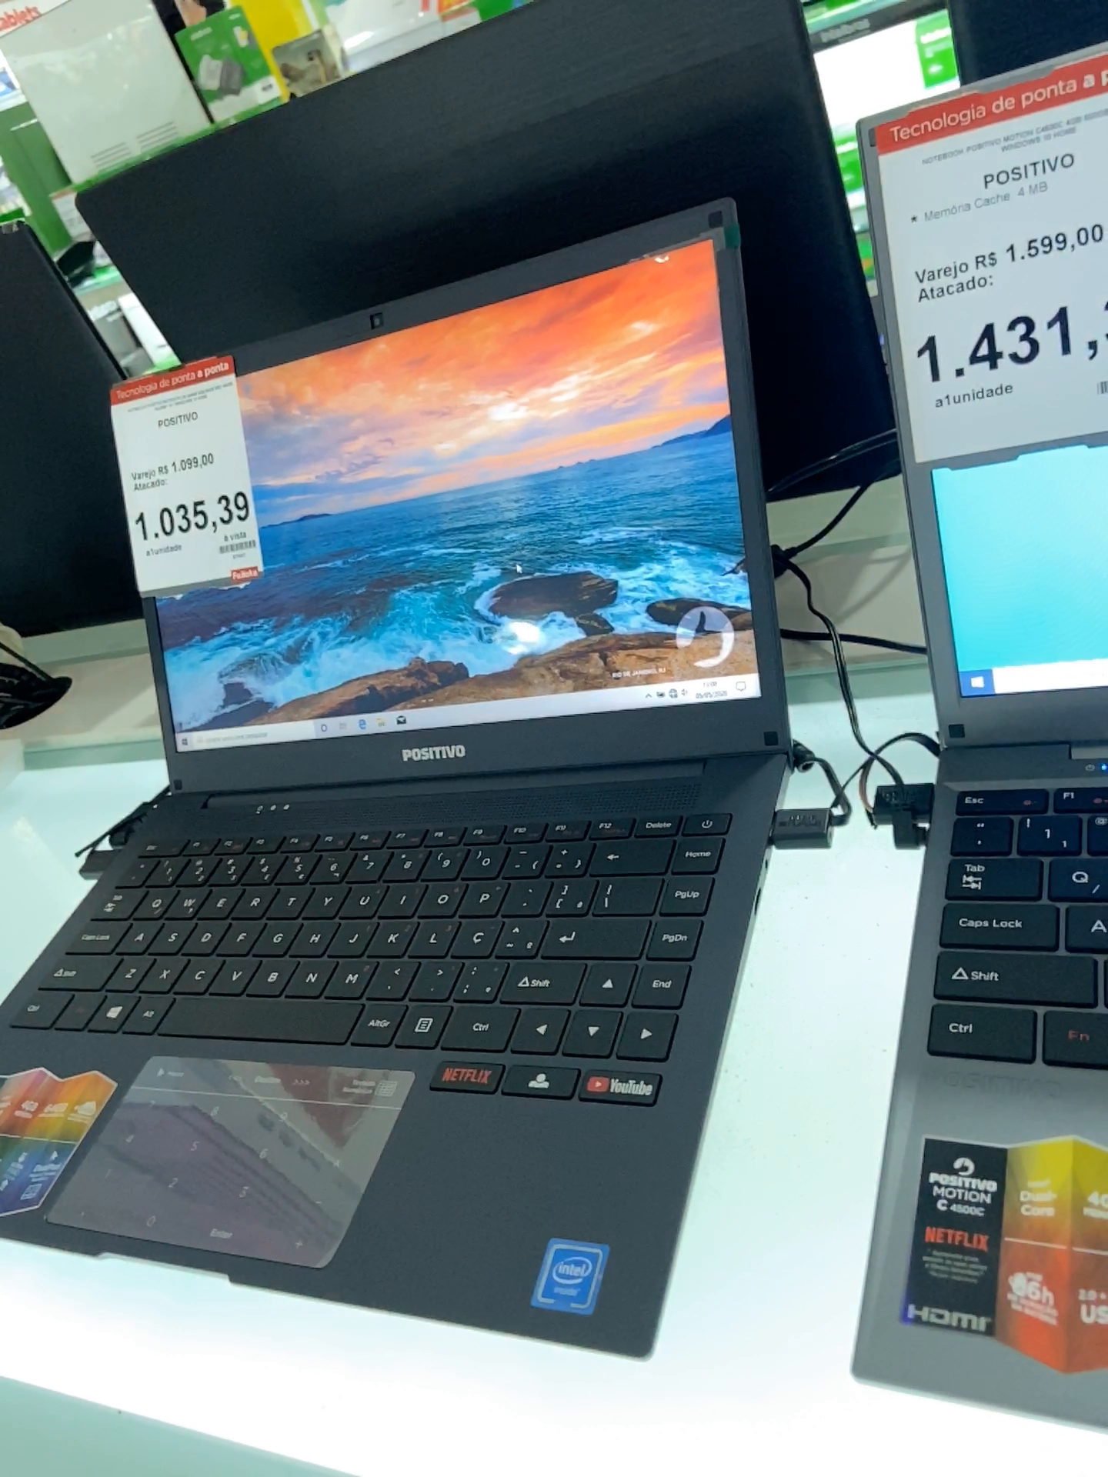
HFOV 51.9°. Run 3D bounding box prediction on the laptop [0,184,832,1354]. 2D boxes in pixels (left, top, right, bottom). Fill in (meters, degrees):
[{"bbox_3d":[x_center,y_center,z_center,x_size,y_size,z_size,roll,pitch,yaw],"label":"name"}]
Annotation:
[{"bbox_3d":[-0.103,-0.016,0.440,0.334,0.175,0.355,-5,39,28],"label":"laptop"}]
